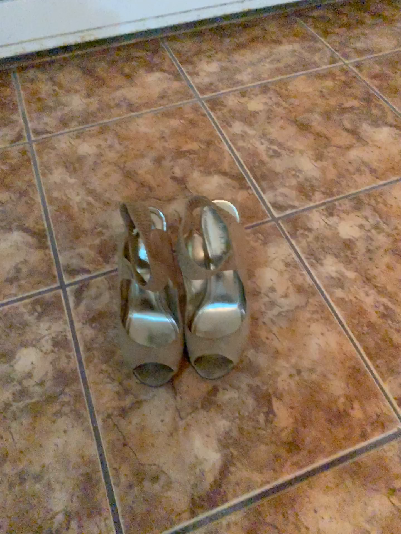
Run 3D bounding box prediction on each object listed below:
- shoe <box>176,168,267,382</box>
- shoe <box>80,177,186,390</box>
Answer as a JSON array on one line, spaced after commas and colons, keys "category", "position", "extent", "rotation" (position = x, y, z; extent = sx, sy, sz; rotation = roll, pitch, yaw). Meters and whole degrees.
[{"category": "shoe", "position": [0.021, 0.011, 0.483], "extent": [0.081, 0.150, 0.205], "rotation": [0, 55, 1]}, {"category": "shoe", "position": [-0.065, 0.019, 0.483], "extent": [0.081, 0.140, 0.210], "rotation": [0, 55, 1]}]
